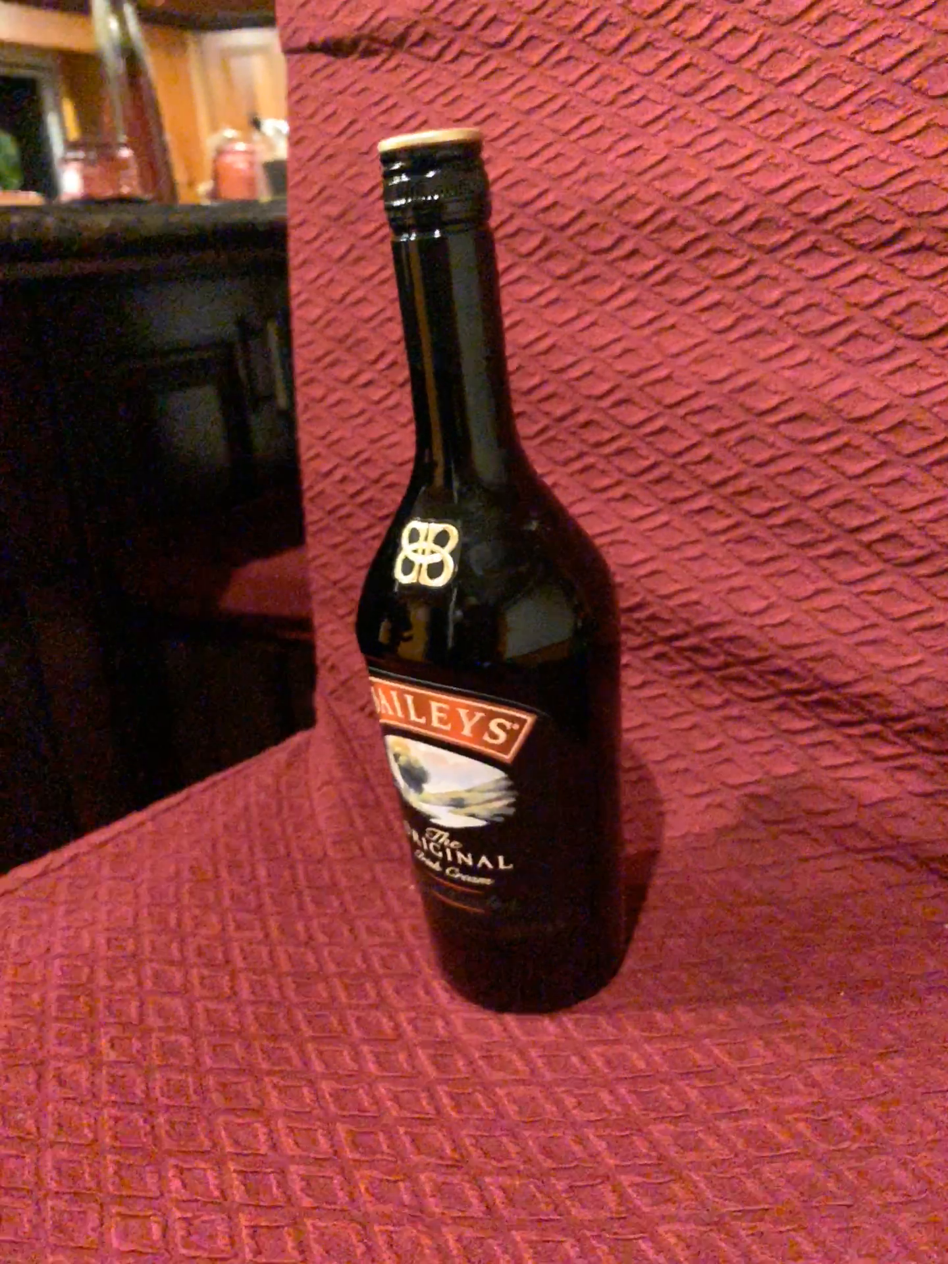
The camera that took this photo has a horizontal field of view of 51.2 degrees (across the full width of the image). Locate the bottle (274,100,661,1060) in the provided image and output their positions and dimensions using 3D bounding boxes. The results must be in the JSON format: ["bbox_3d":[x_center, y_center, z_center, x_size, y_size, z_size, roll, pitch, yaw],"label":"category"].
[{"bbox_3d":[0.008,-0.009,0.334,0.080,0.289,0.070,10,24,36],"label":"bottle"}]
